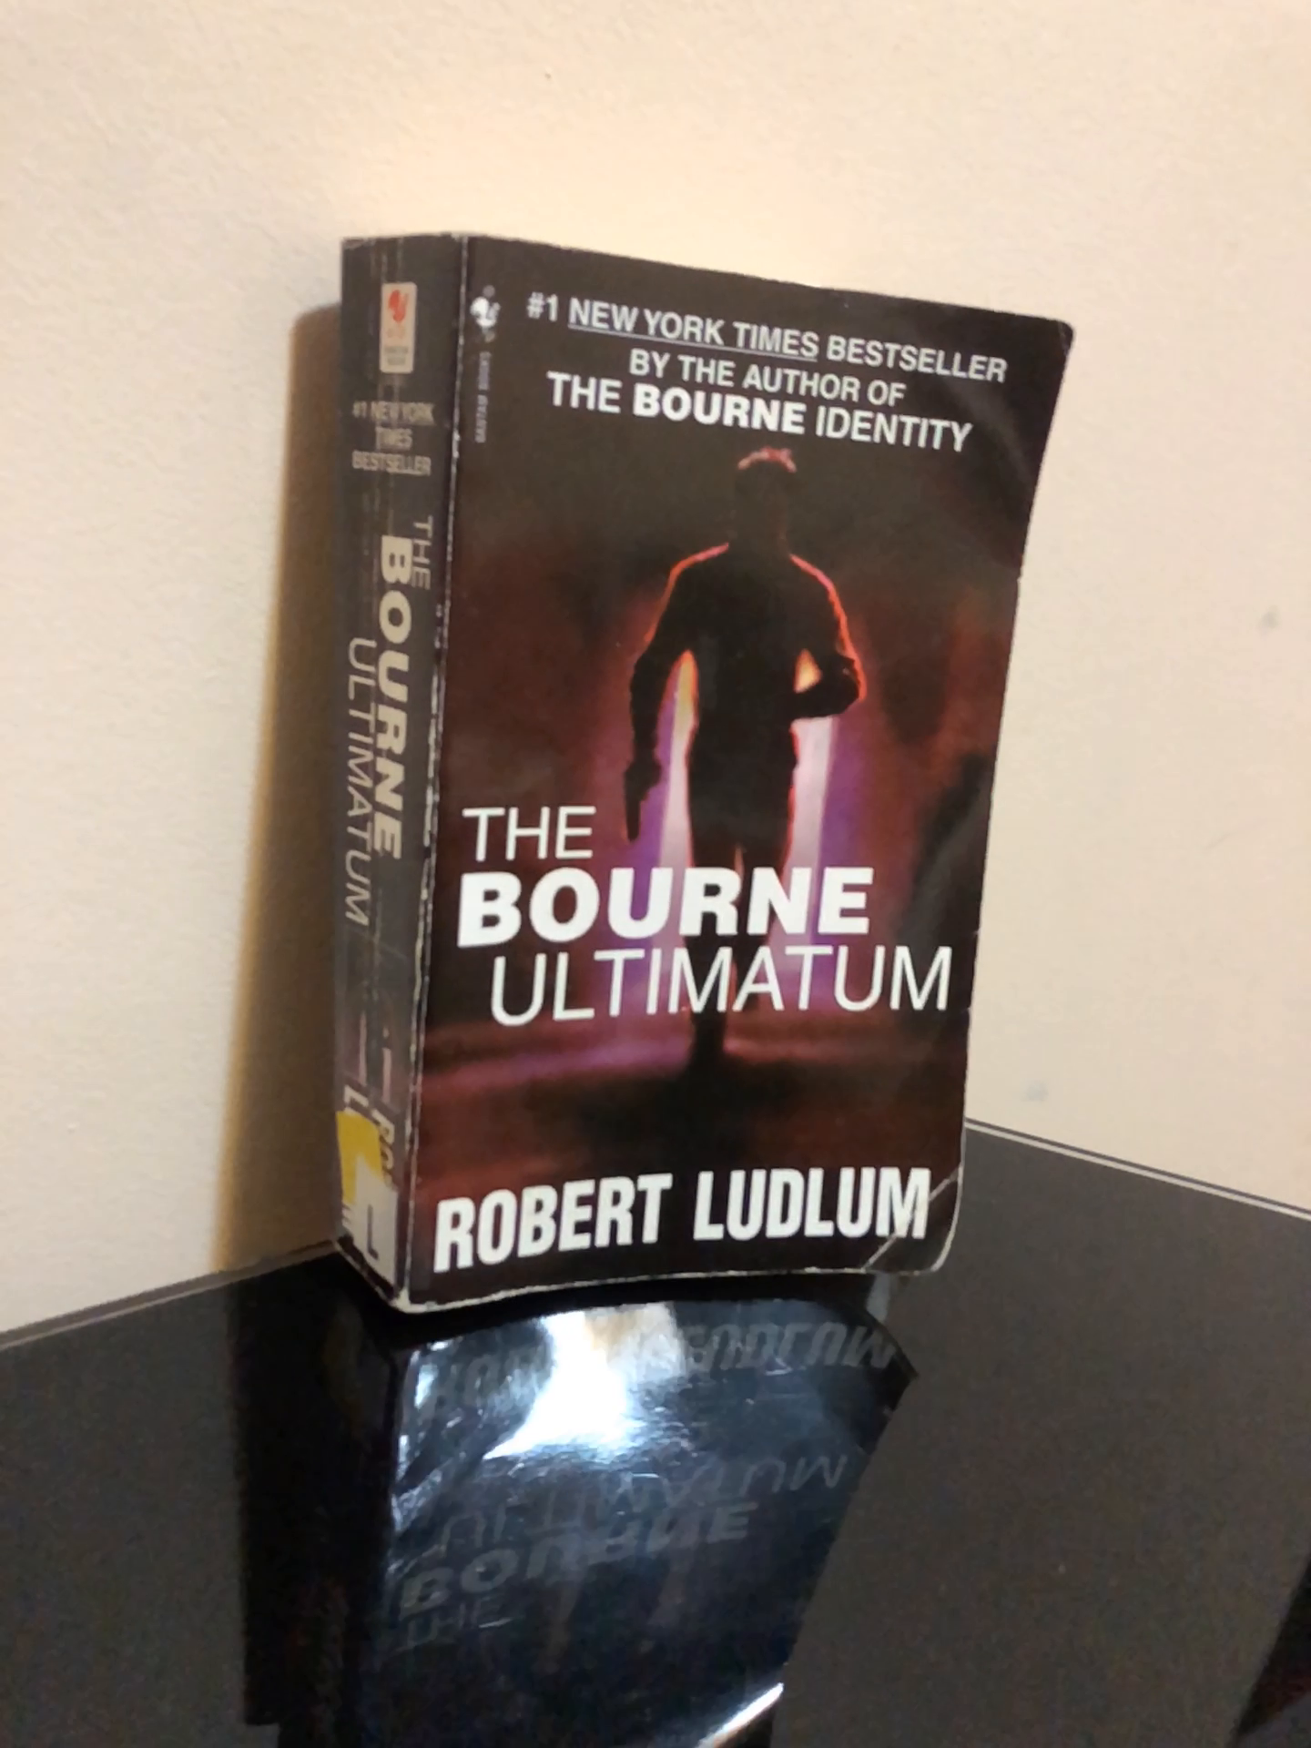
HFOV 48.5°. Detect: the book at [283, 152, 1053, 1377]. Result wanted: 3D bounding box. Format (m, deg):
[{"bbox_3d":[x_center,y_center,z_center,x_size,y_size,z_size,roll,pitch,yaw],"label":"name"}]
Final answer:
[{"bbox_3d":[-0.002,-0.020,0.281,0.120,0.190,0.070,-4,13,-26],"label":"book"}]
